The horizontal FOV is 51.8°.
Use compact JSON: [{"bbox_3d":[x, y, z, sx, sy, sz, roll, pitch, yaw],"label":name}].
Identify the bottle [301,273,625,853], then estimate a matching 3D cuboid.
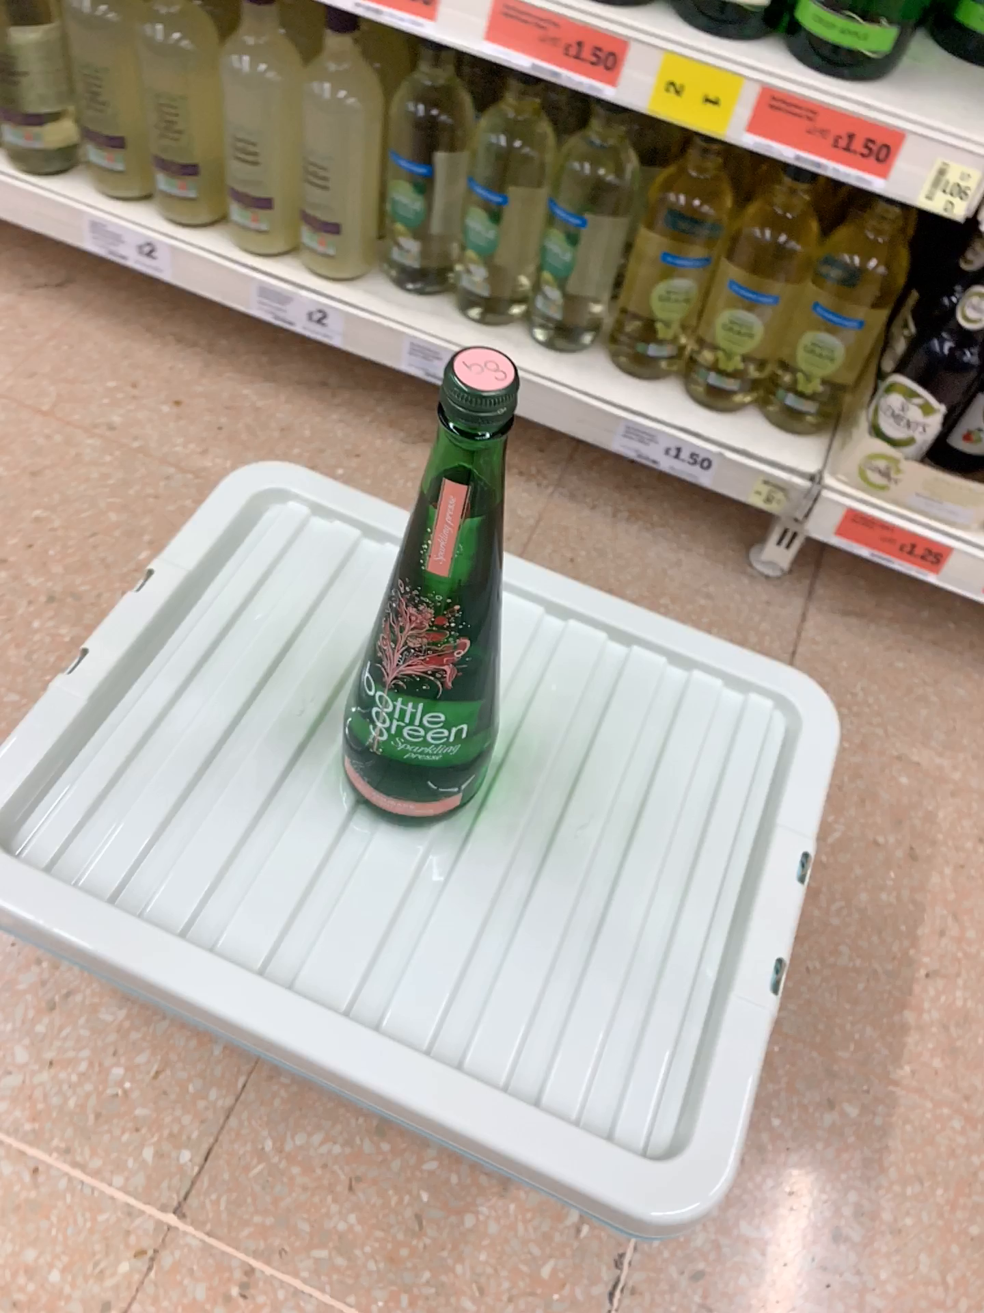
[{"bbox_3d":[-0.026,-0.019,0.479,0.090,0.287,0.085,4,55,-6],"label":"bottle"}]
